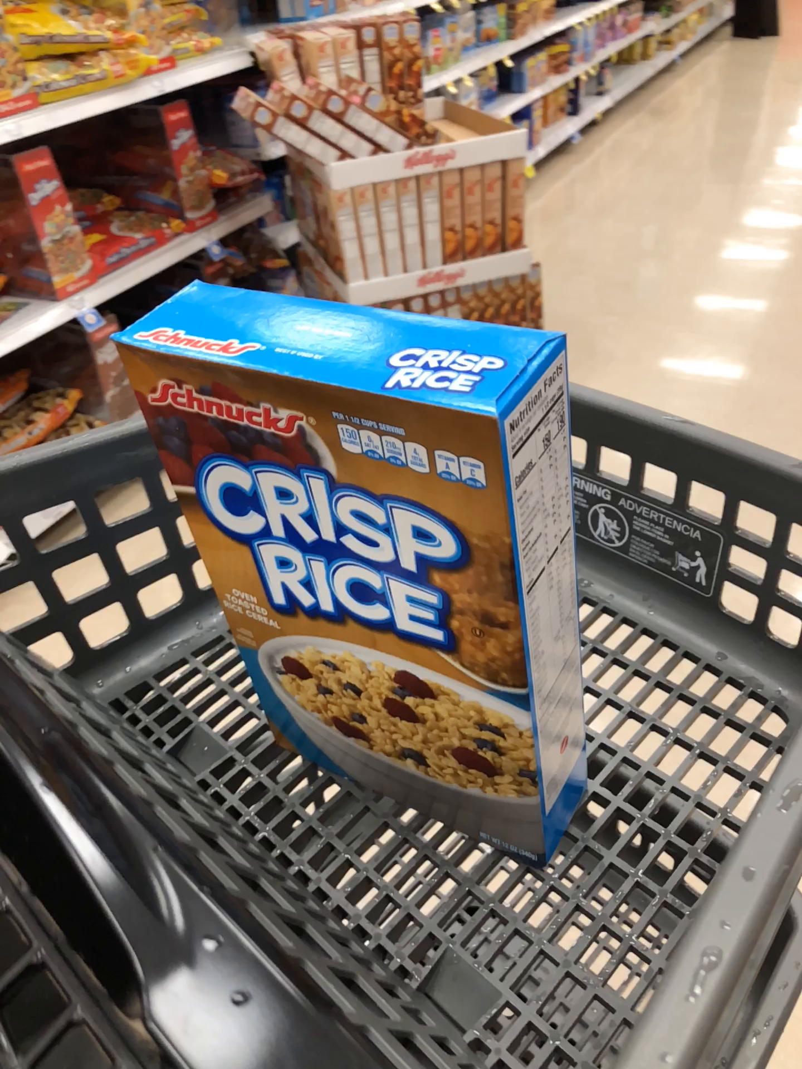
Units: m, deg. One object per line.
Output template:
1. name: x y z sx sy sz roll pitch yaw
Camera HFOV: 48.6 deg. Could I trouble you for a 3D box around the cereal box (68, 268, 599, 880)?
1. cereal box: -0.017 0.029 0.453 0.220 0.299 0.060 15 46 27
